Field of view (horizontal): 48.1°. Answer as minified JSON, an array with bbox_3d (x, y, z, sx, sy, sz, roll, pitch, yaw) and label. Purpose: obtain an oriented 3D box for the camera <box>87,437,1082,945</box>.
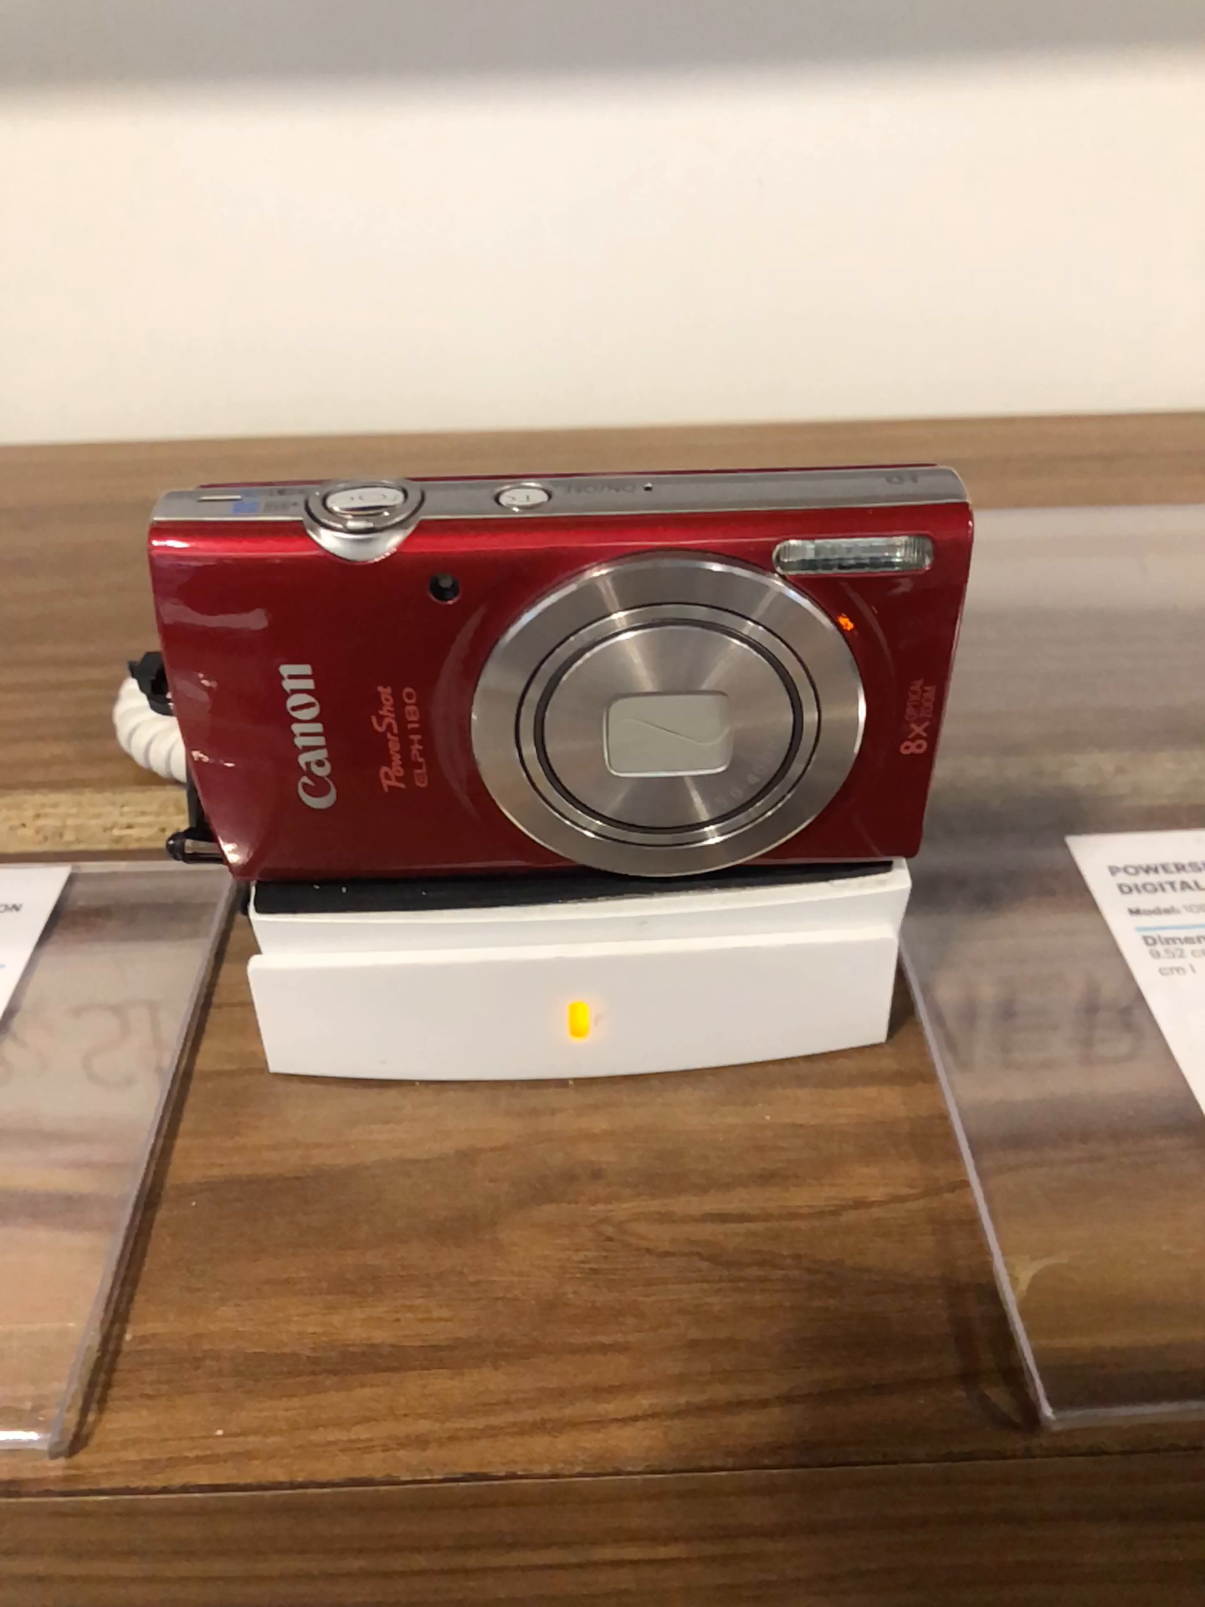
[{"bbox_3d":[-0.002,-0.013,0.162,0.100,0.050,0.030,-2,36,0],"label":"camera"}]
